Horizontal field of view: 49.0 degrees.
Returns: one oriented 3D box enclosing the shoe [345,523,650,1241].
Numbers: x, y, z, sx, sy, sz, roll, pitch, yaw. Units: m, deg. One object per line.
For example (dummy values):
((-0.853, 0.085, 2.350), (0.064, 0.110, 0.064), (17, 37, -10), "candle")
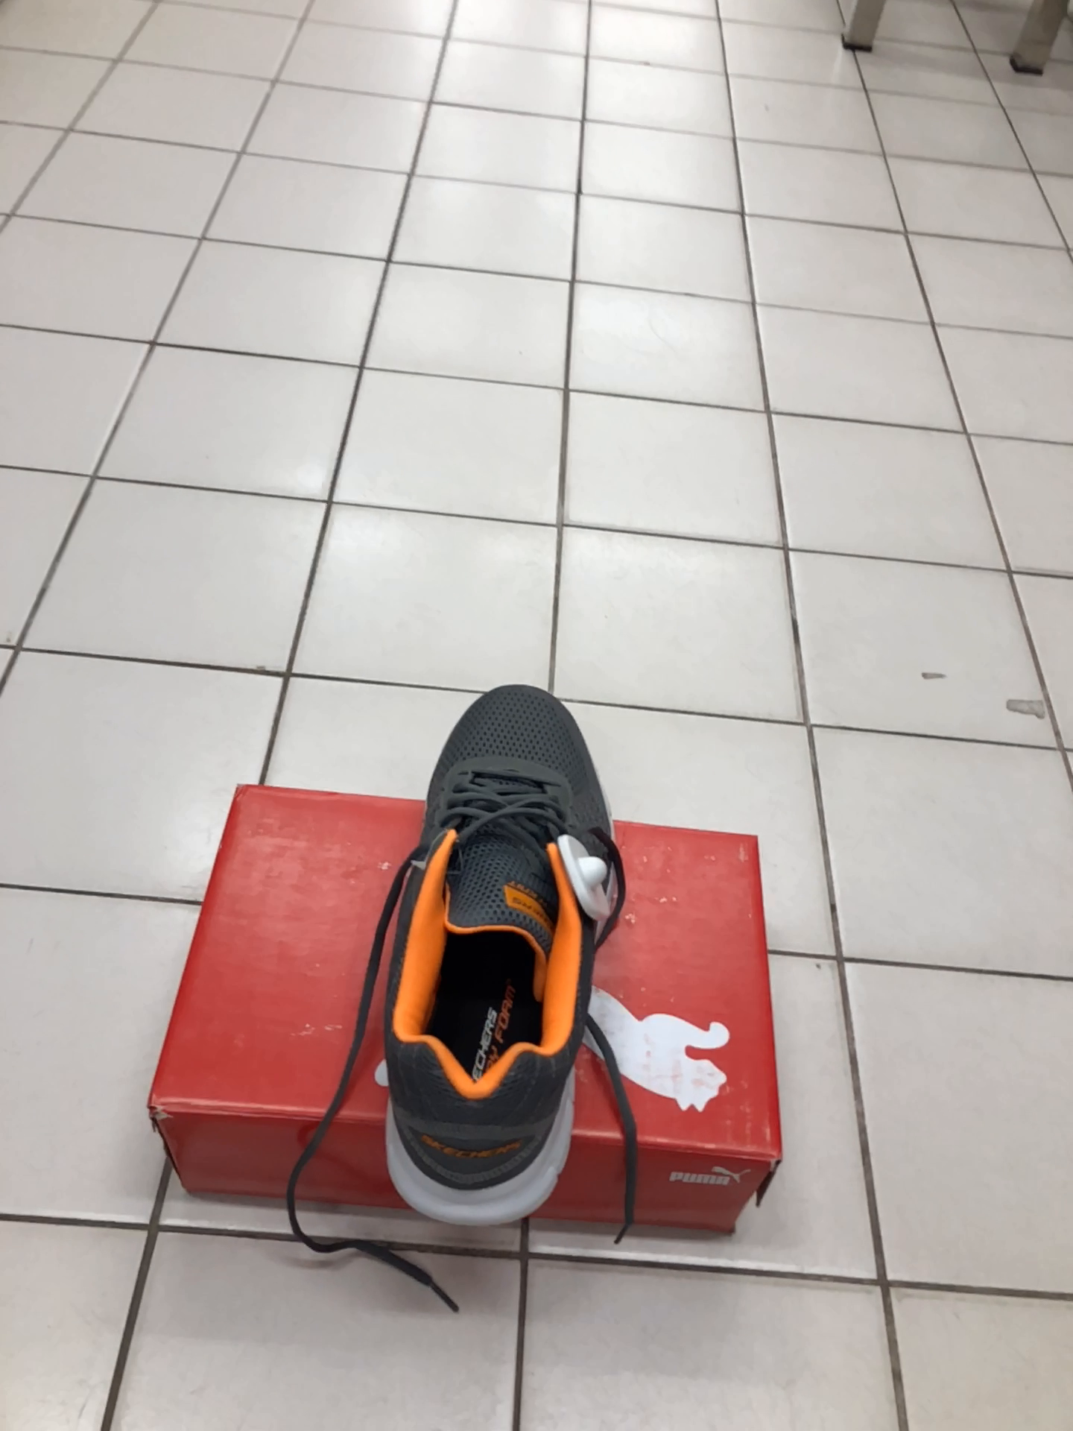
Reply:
((-0.012, 0.068, 0.576), (0.110, 0.139, 0.312), (6, 50, -2), "shoe")
